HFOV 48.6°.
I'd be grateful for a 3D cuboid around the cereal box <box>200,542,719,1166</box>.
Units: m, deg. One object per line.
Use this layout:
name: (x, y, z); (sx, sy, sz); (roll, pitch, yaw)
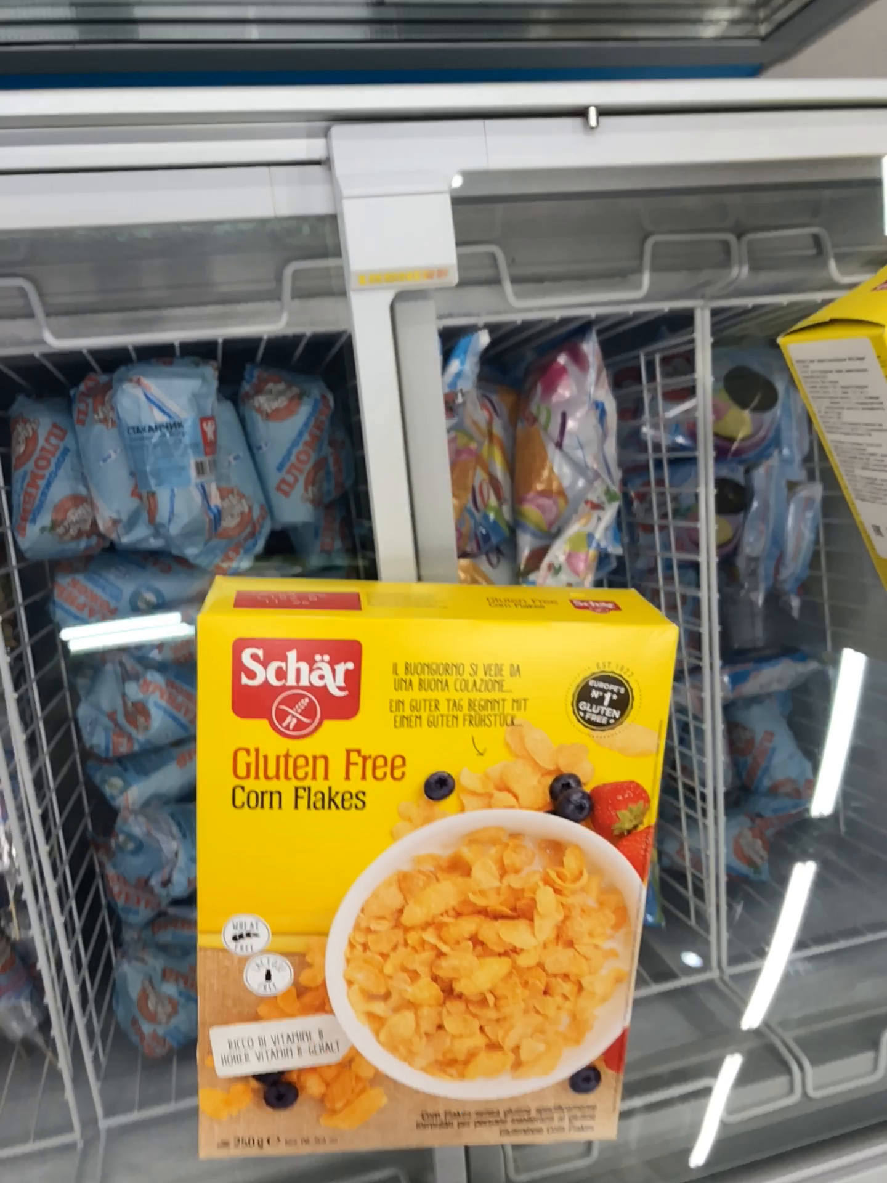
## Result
cereal box: (-0.003, 0.117, 0.449); (0.200, 0.080, 0.260); (2, 104, -9)
